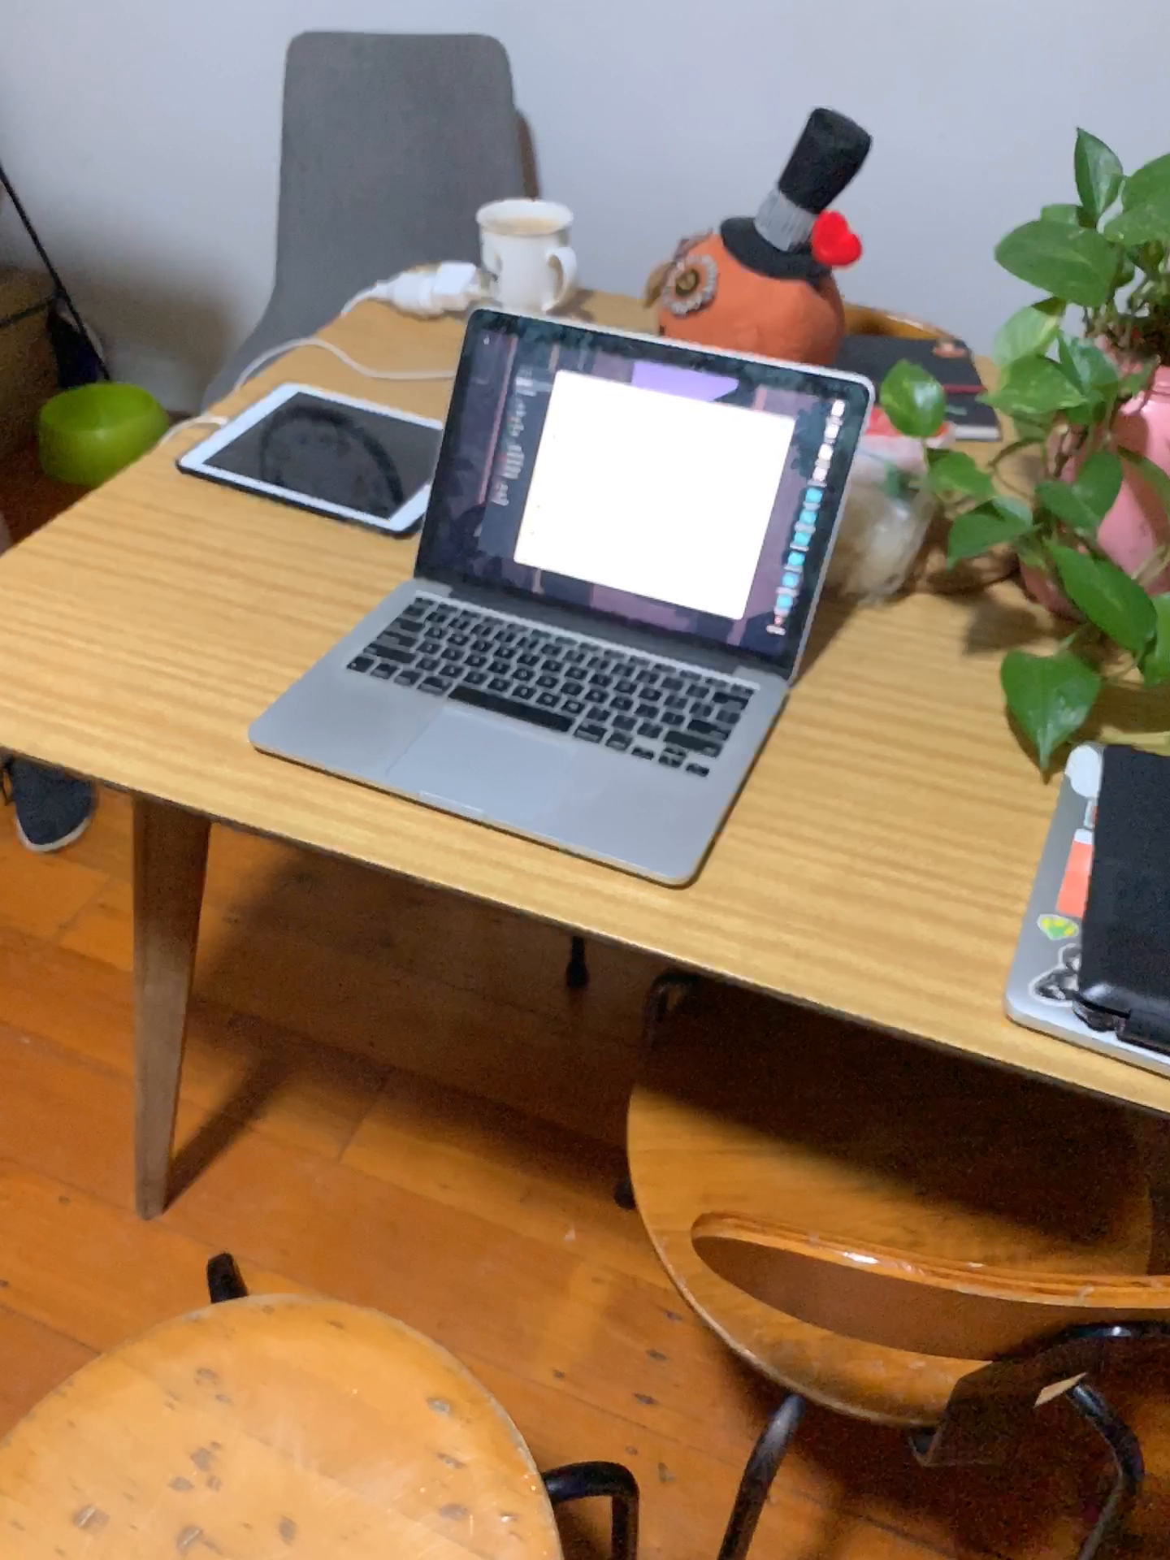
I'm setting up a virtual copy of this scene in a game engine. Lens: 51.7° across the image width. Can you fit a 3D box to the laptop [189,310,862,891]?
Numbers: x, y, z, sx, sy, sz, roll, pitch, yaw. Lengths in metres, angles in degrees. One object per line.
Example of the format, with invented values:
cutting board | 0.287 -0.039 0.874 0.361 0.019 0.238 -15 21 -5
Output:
laptop | -0.016 -0.125 0.684 0.263 0.144 0.288 17 43 18
